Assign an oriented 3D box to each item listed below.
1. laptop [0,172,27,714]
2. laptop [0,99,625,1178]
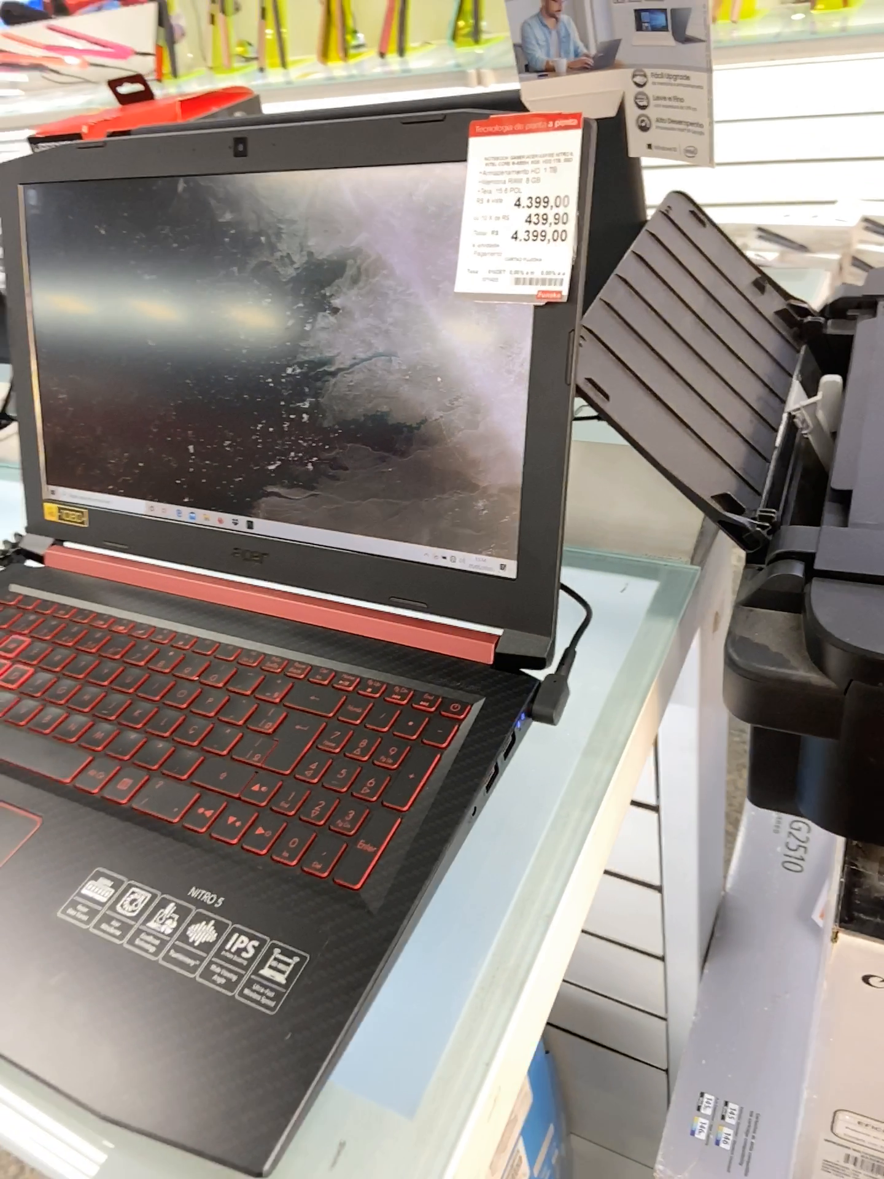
[{"bbox_3d":[-0.603,-0.144,0.685,0.355,0.225,0.324,10,42,25],"label":"laptop"},{"bbox_3d":[-0.166,-0.041,0.427,0.388,0.218,0.362,10,43,28],"label":"laptop"}]
